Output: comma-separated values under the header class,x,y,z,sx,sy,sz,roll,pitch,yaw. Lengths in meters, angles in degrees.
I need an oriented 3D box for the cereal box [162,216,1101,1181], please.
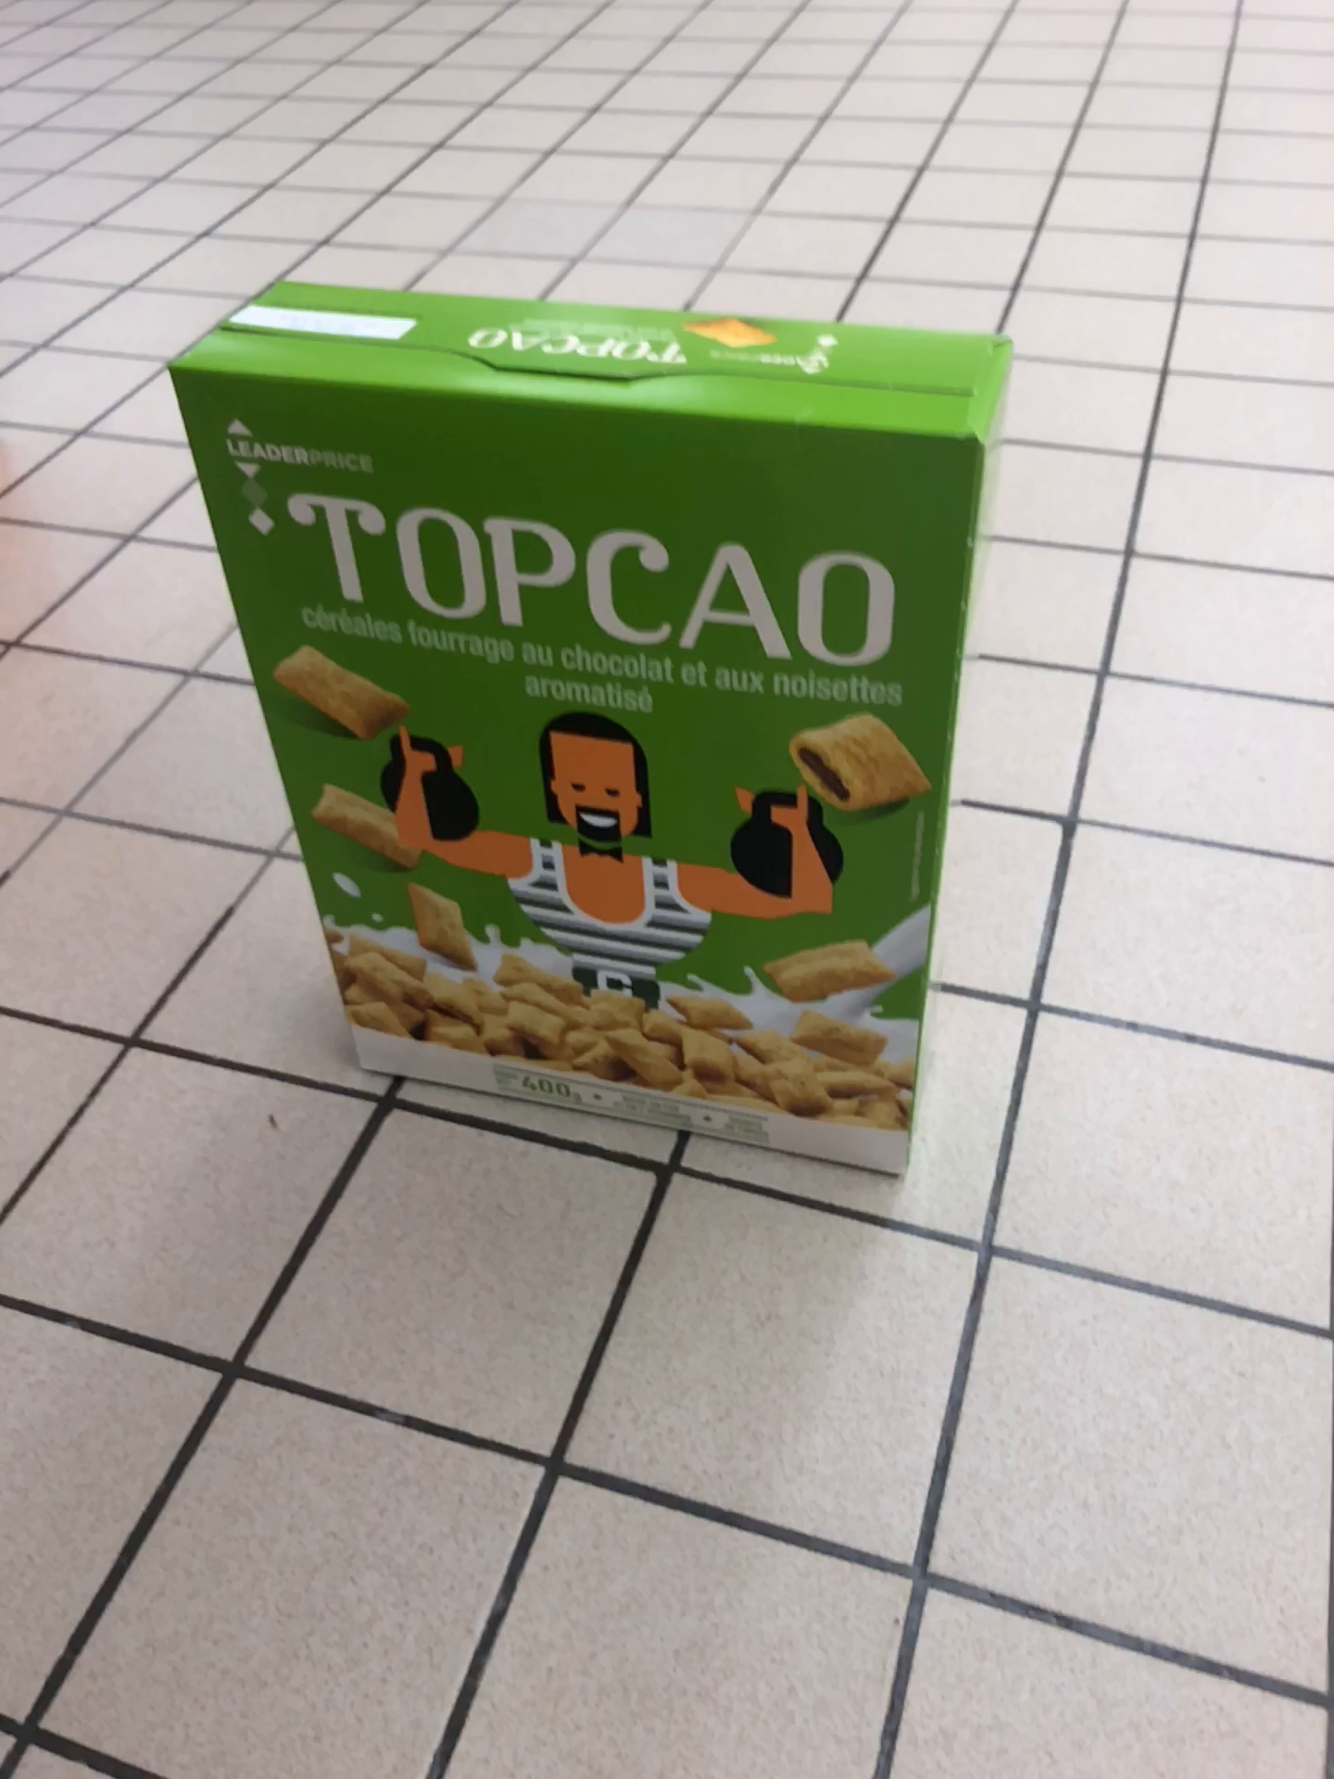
class,x,y,z,sx,sy,sz,roll,pitch,yaw
cereal box,-0.005,-0.040,0.411,0.200,0.248,0.060,10,43,12
